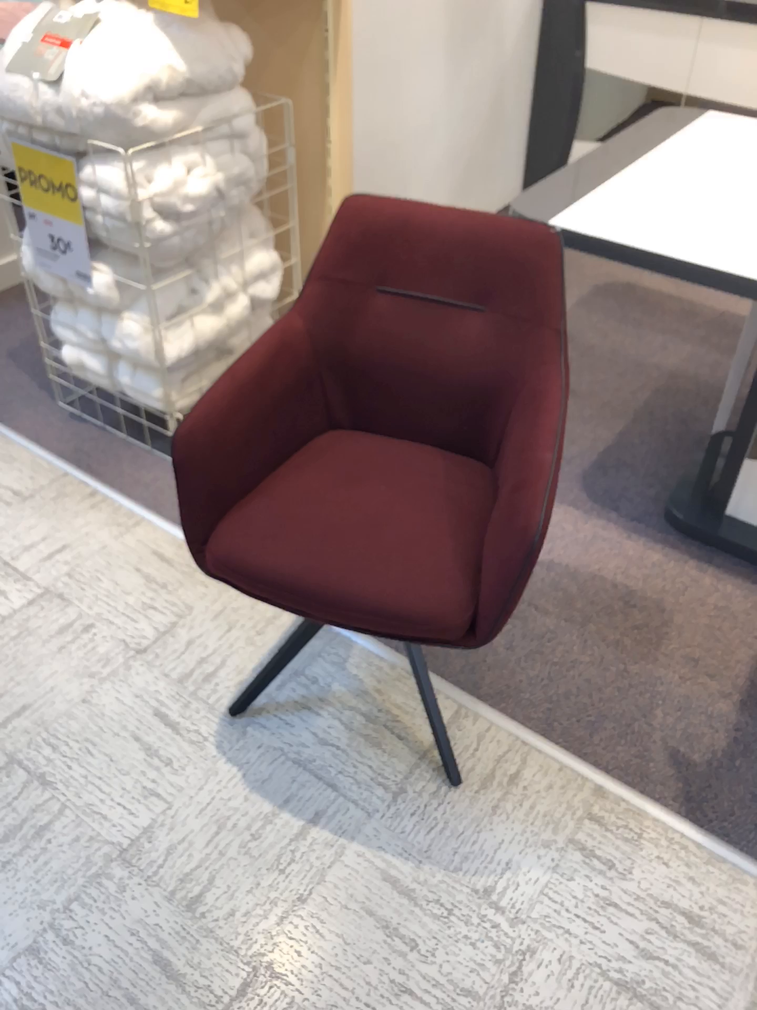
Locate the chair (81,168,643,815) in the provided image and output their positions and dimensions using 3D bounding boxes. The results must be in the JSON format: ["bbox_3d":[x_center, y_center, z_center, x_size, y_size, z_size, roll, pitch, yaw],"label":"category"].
[{"bbox_3d":[0.018,-0.038,1.350,0.580,0.735,0.574,14,42,15],"label":"chair"}]
